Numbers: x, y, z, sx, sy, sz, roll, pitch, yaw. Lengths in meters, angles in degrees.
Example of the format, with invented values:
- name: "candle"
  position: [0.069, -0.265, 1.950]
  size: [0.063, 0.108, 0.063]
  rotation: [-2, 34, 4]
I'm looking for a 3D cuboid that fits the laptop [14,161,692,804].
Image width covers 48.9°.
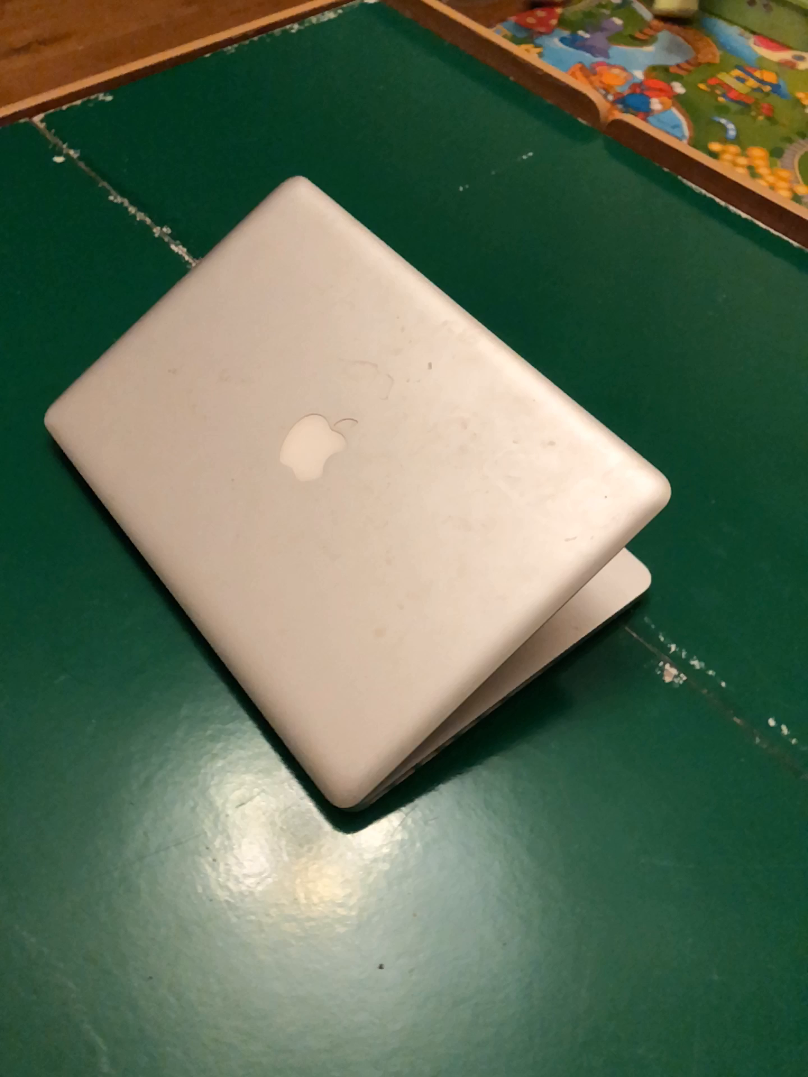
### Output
- name: "laptop"
  position: [-0.041, -0.058, 0.498]
  size: [0.210, 0.098, 0.316]
  rotation: [-32, 61, -22]
